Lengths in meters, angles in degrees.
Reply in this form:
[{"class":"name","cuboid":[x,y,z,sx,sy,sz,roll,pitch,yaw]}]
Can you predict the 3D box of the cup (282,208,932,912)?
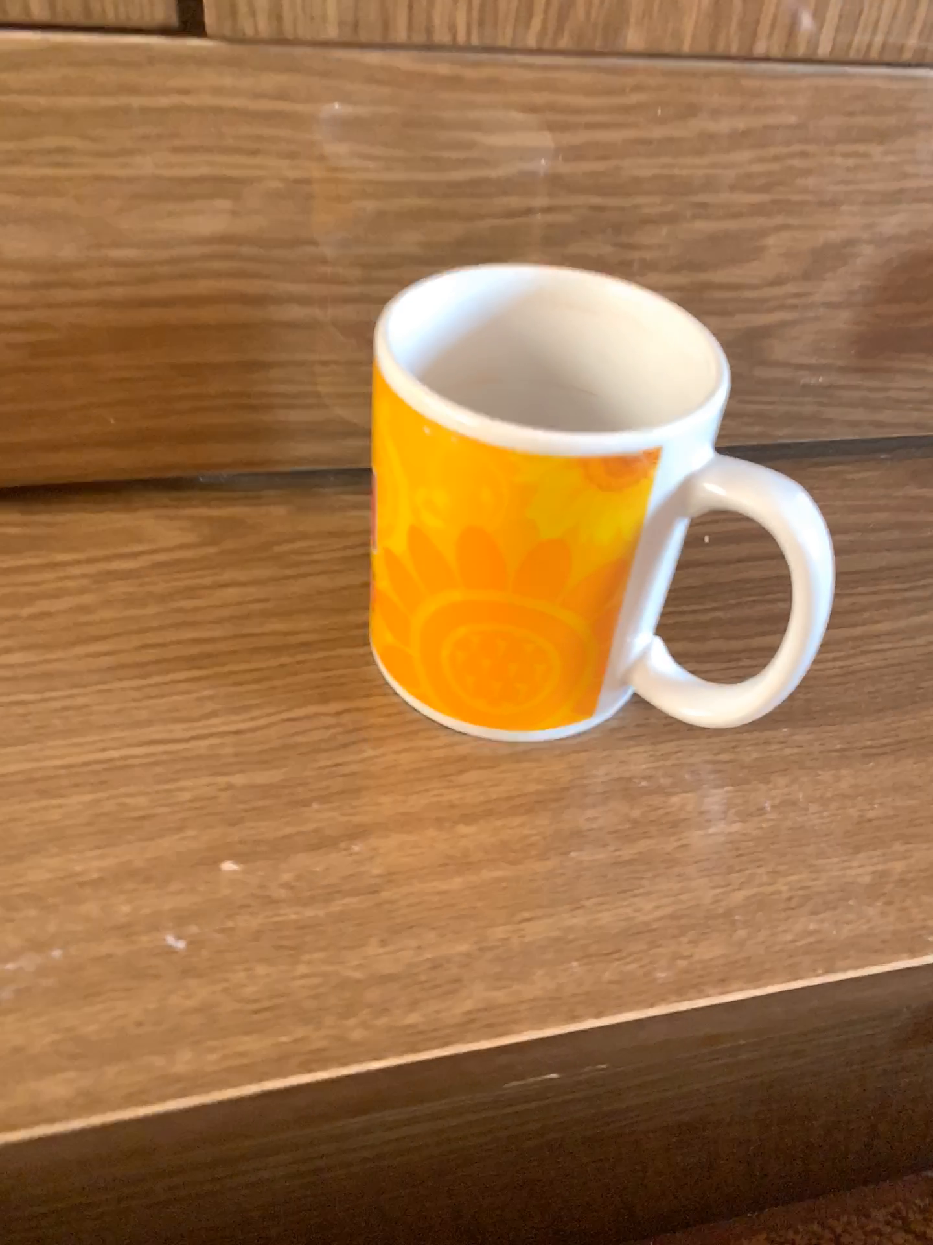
[{"class":"cup","cuboid":[0.034,-0.022,0.234,0.124,0.097,0.091,30,48,22]}]
